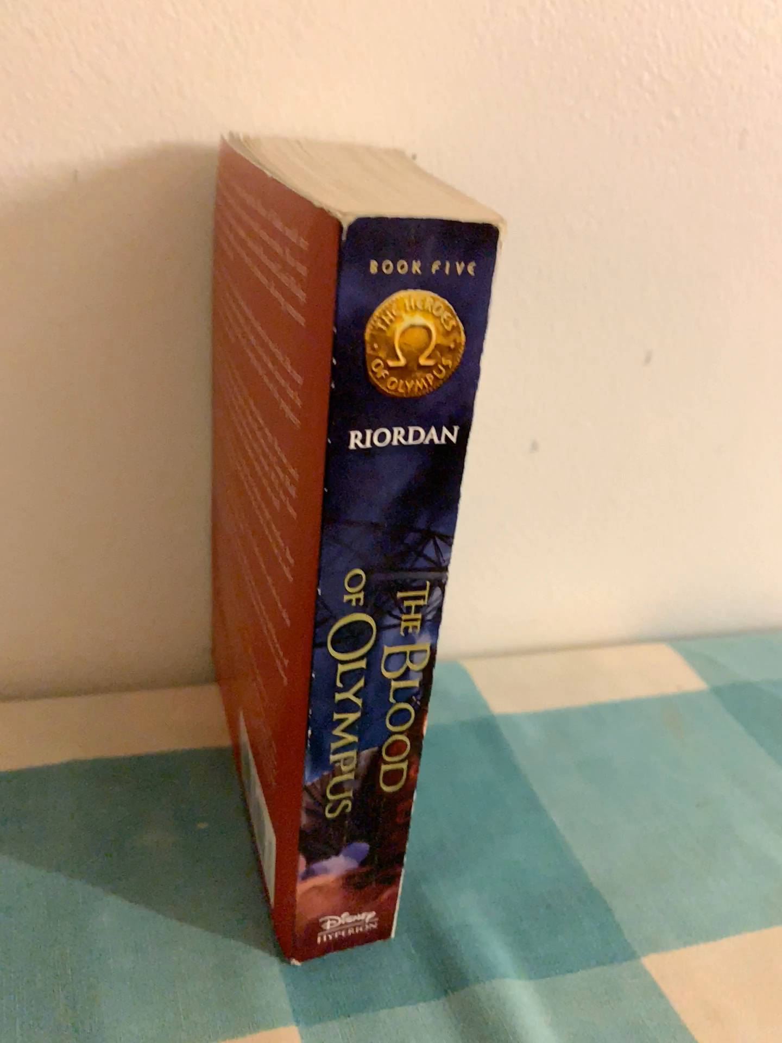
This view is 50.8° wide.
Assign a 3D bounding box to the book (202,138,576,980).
[{"bbox_3d":[-0.022,-0.003,0.234,0.051,0.180,0.151,-2,27,-16],"label":"book"}]
